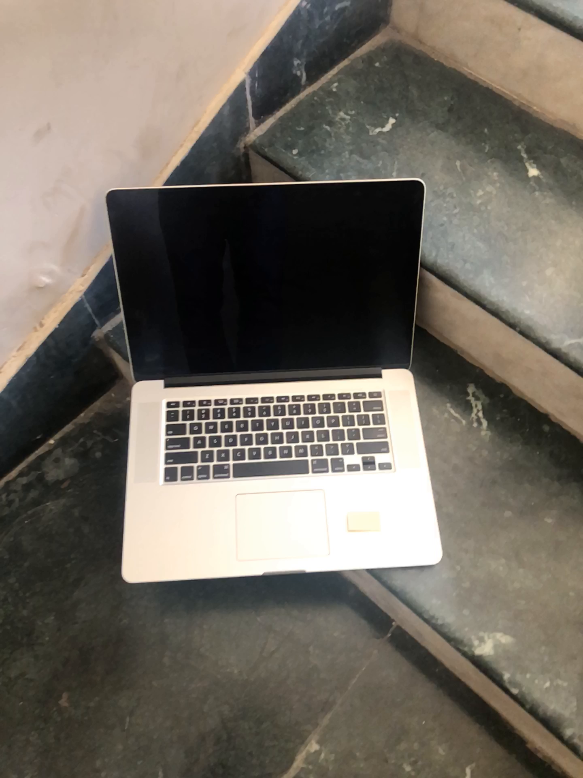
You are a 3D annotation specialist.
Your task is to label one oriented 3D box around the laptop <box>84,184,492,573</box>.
[{"bbox_3d":[-0.016,-0.013,0.705,0.341,0.194,0.364,-3,63,-2],"label":"laptop"}]
